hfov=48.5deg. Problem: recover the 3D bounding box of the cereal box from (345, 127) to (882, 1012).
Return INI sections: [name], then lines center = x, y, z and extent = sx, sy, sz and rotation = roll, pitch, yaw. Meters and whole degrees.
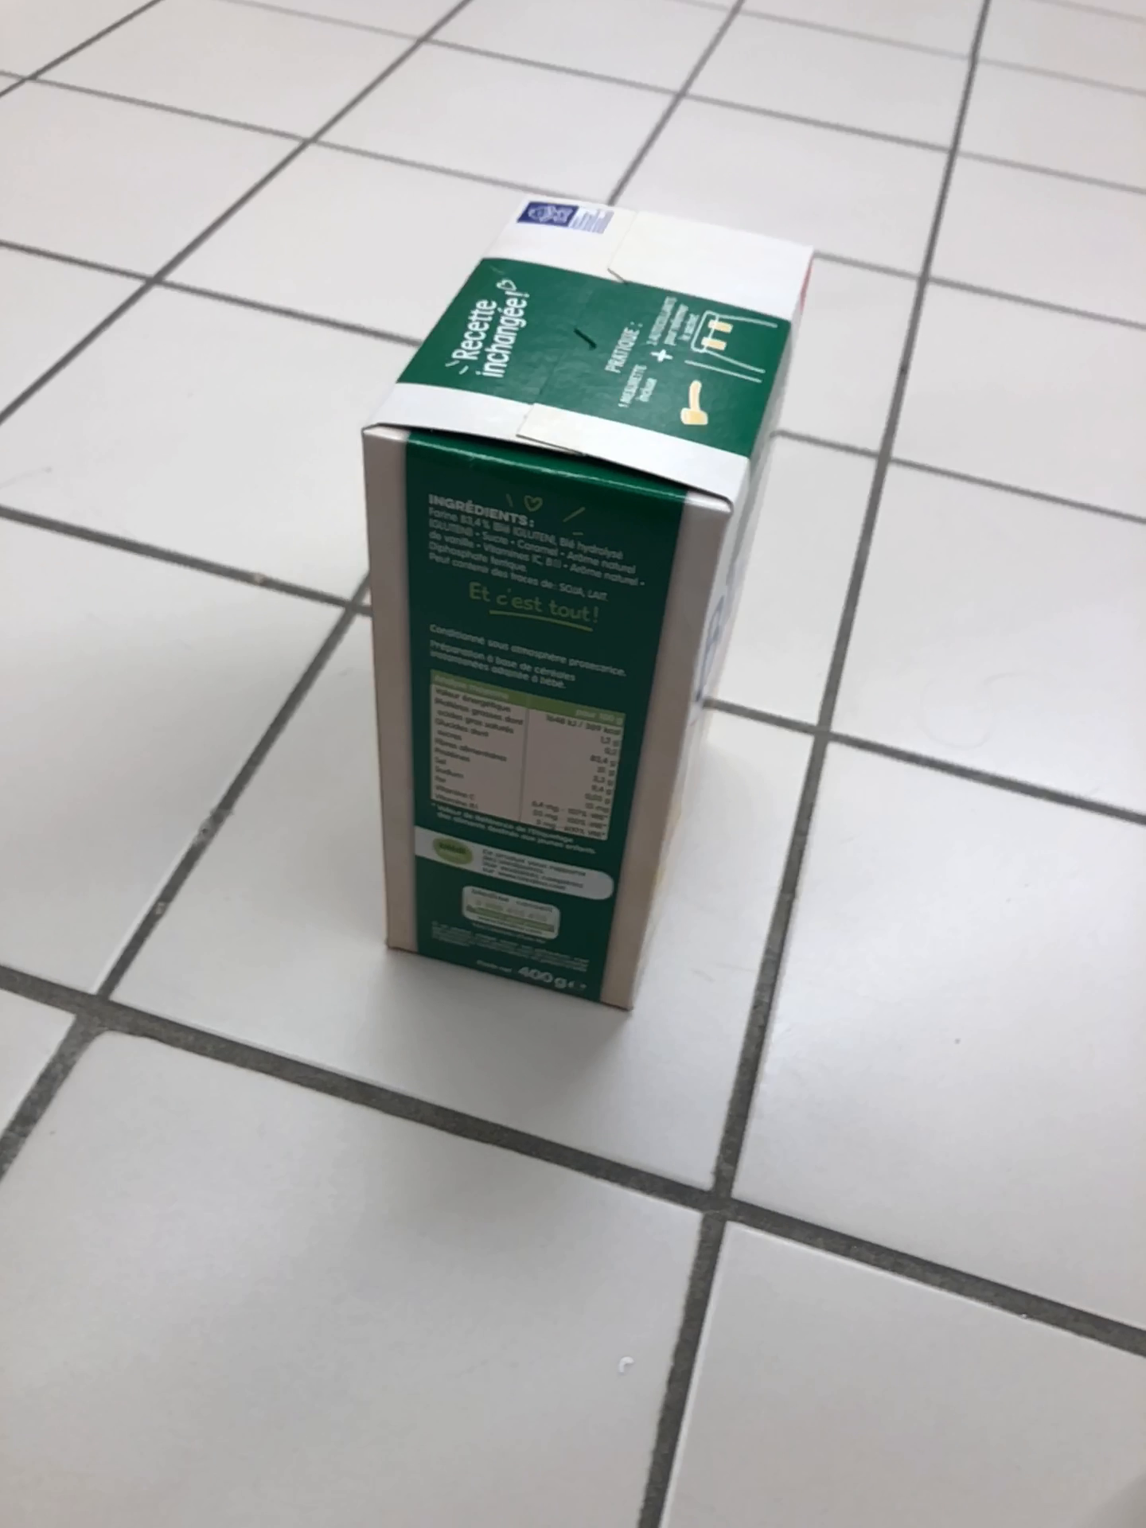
[cereal box]
center = 0.011, -0.051, 0.378
extent = 0.100, 0.199, 0.141
rotation = 14, 47, 7
